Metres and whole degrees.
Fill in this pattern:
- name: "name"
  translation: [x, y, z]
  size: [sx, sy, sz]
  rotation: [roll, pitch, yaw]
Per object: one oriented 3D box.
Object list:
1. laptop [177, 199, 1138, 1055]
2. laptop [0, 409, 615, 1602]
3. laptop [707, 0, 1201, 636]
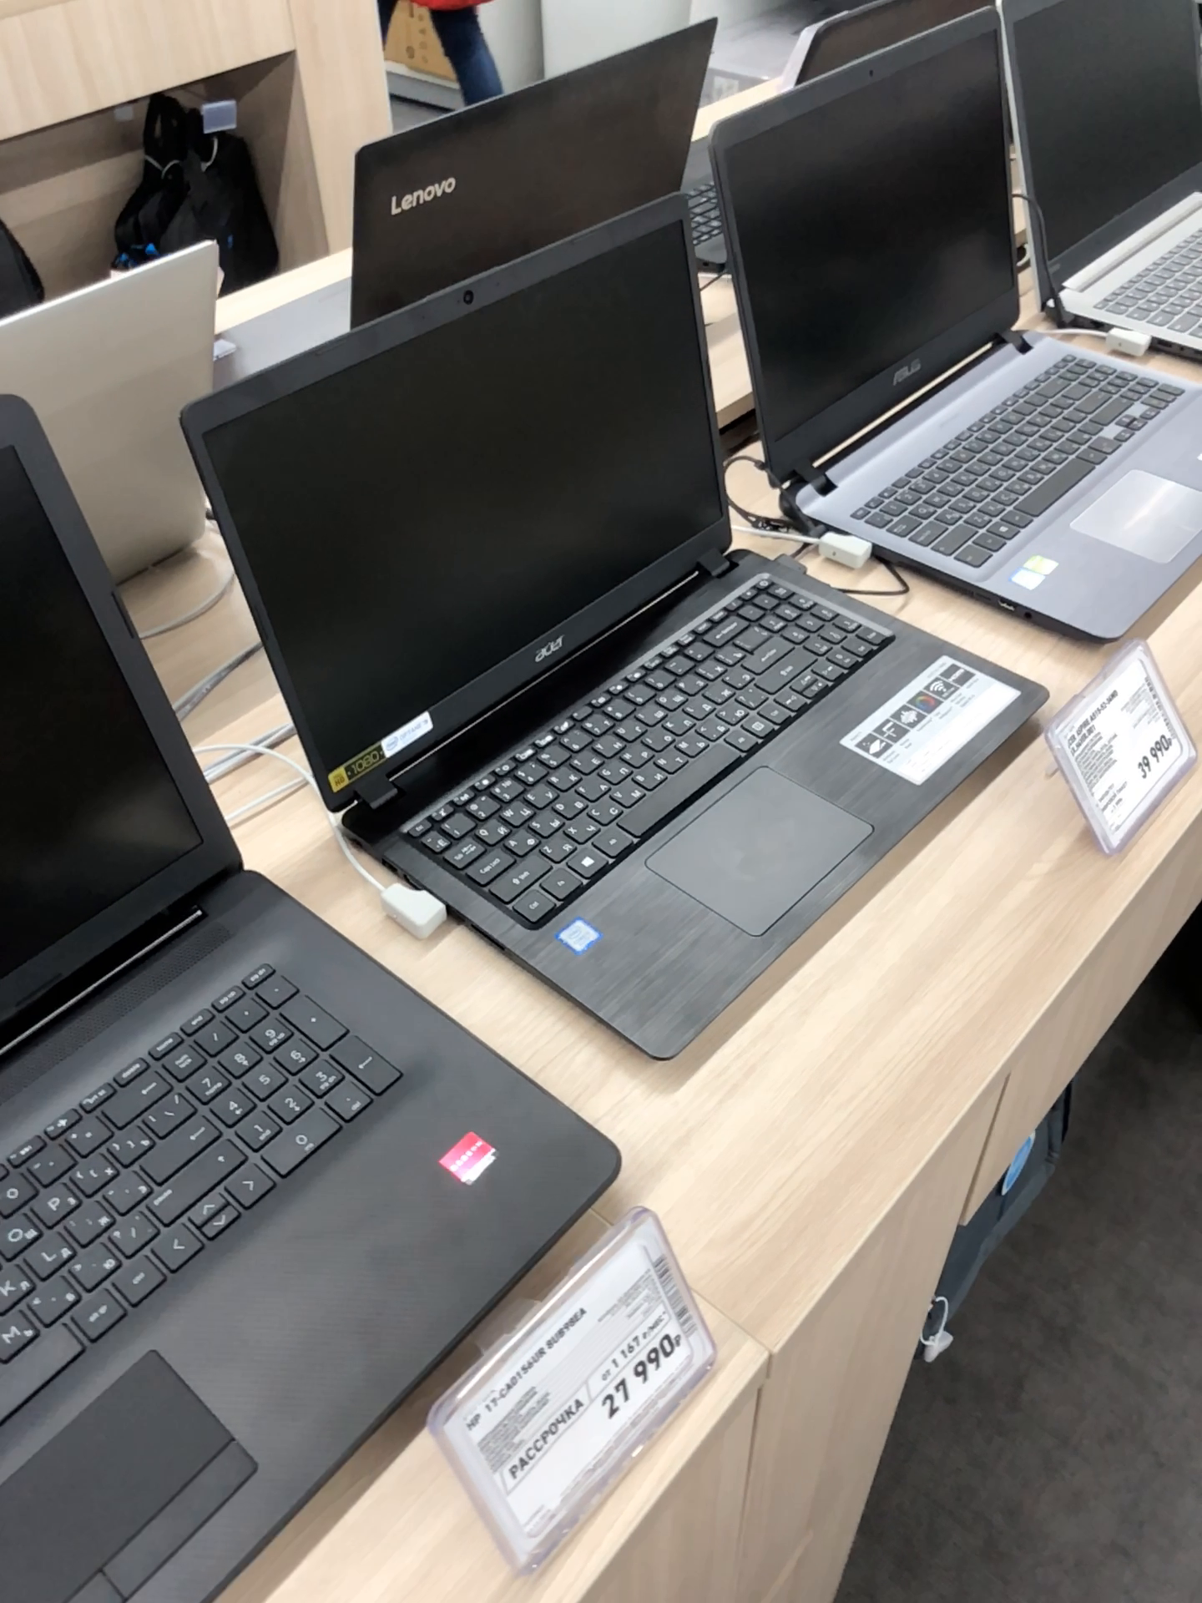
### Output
- name: "laptop"
  translation: [0.036, -0.120, 0.691]
  size: [0.291, 0.219, 0.347]
  rotation: [31, 53, 30]
- name: "laptop"
  translation: [-0.246, 0.083, 0.447]
  size: [0.345, 0.226, 0.354]
  rotation: [29, 49, 26]
- name: "laptop"
  translation: [0.306, -0.351, 0.906]
  size: [0.325, 0.218, 0.327]
  rotation: [33, 55, 28]
